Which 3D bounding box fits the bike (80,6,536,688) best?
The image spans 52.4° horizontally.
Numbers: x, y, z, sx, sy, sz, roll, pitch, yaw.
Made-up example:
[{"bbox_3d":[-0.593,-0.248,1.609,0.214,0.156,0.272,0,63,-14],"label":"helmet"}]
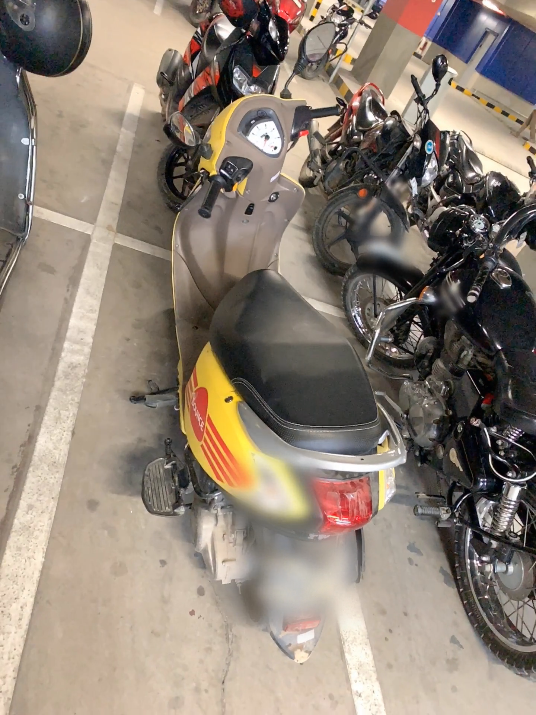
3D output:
[{"bbox_3d":[-0.108,-0.199,1.633,0.567,1.048,1.711,12,37,-26],"label":"bike"}]
